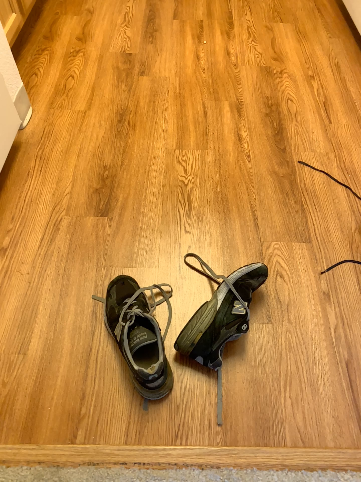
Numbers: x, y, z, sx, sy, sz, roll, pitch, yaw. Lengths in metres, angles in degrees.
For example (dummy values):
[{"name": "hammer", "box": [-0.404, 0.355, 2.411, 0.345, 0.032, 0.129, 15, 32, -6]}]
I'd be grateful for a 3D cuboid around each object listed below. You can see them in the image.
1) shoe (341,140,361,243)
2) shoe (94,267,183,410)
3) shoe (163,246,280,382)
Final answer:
[{"name": "shoe", "box": [0.667, -0.134, 1.092, 0.180, 0.259, 0.151, 1, 51, -34]}, {"name": "shoe", "box": [-0.113, 0.250, 0.959, 0.120, 0.169, 0.301, -18, 58, -14]}, {"name": "shoe", "box": [0.104, 0.167, 0.883, 0.110, 0.110, 0.300, 32, 60, 26]}]
